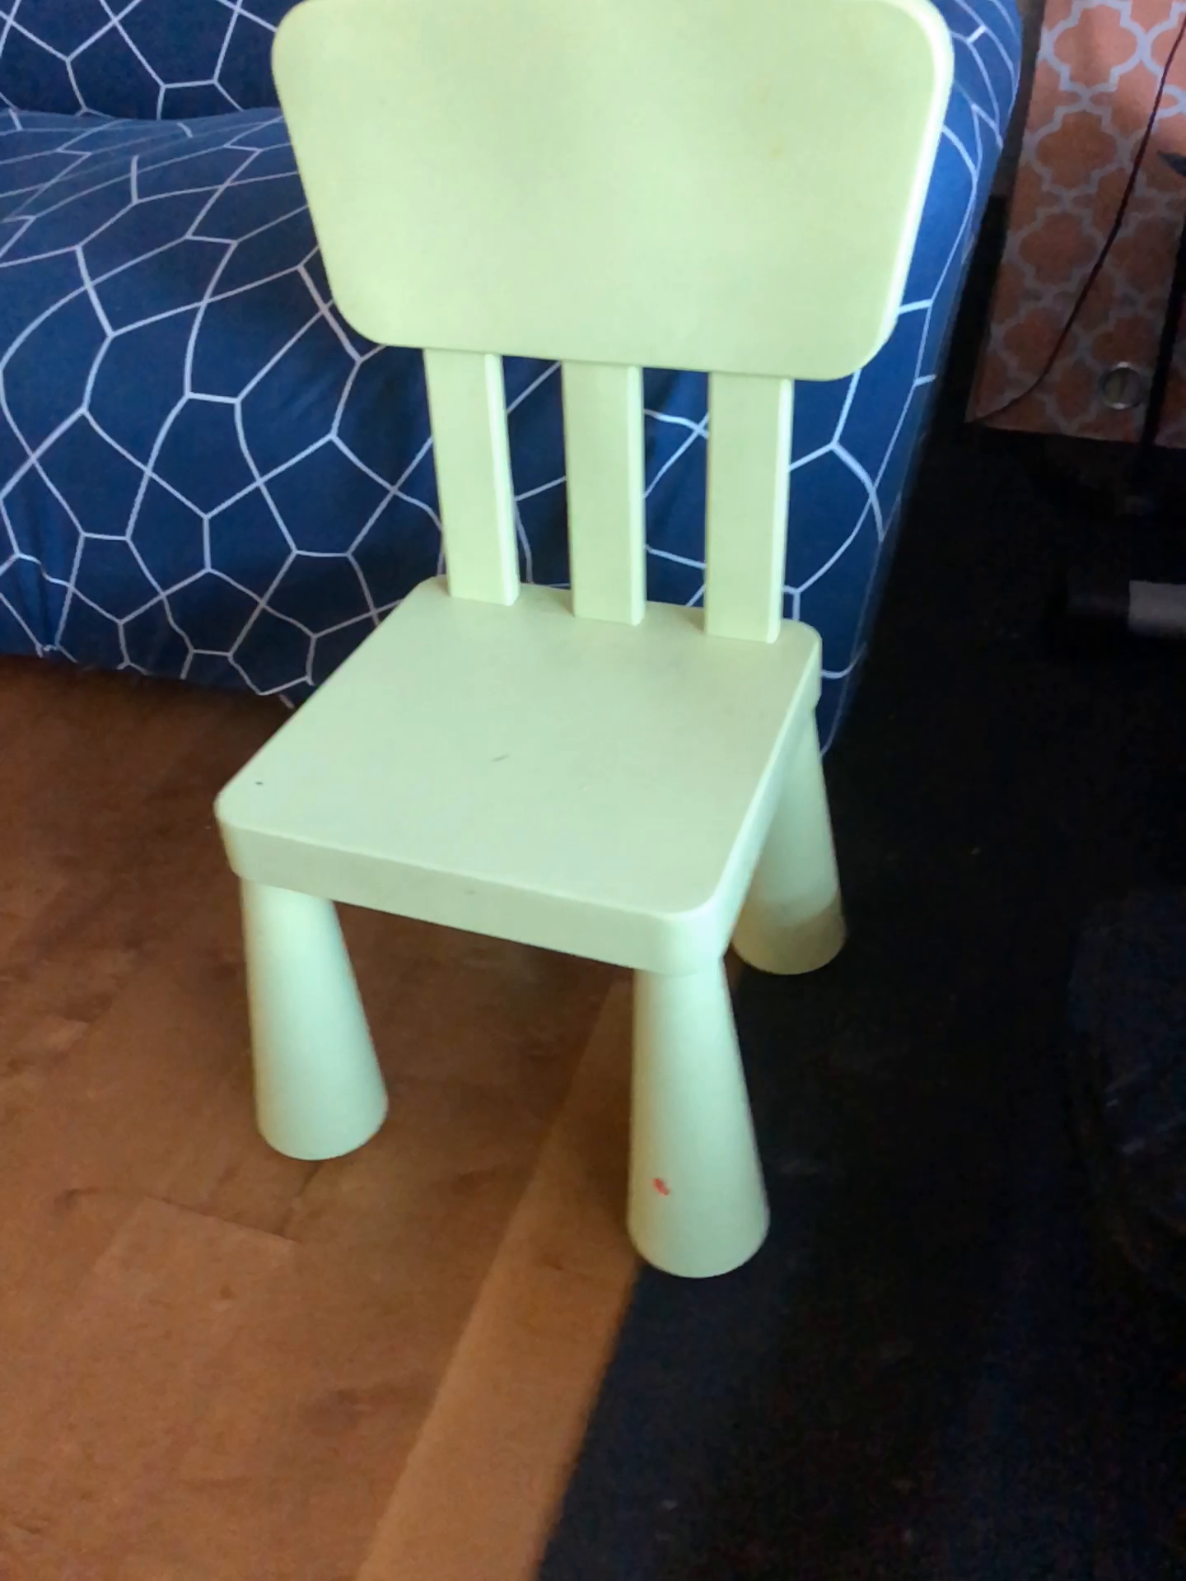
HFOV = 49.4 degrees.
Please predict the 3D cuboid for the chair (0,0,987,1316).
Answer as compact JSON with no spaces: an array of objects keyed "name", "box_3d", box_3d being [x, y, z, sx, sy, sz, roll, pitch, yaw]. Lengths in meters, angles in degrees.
[{"name":"chair","box_3d":[-0.033,-0.094,0.763,0.390,0.635,0.412,10,41,15]}]
